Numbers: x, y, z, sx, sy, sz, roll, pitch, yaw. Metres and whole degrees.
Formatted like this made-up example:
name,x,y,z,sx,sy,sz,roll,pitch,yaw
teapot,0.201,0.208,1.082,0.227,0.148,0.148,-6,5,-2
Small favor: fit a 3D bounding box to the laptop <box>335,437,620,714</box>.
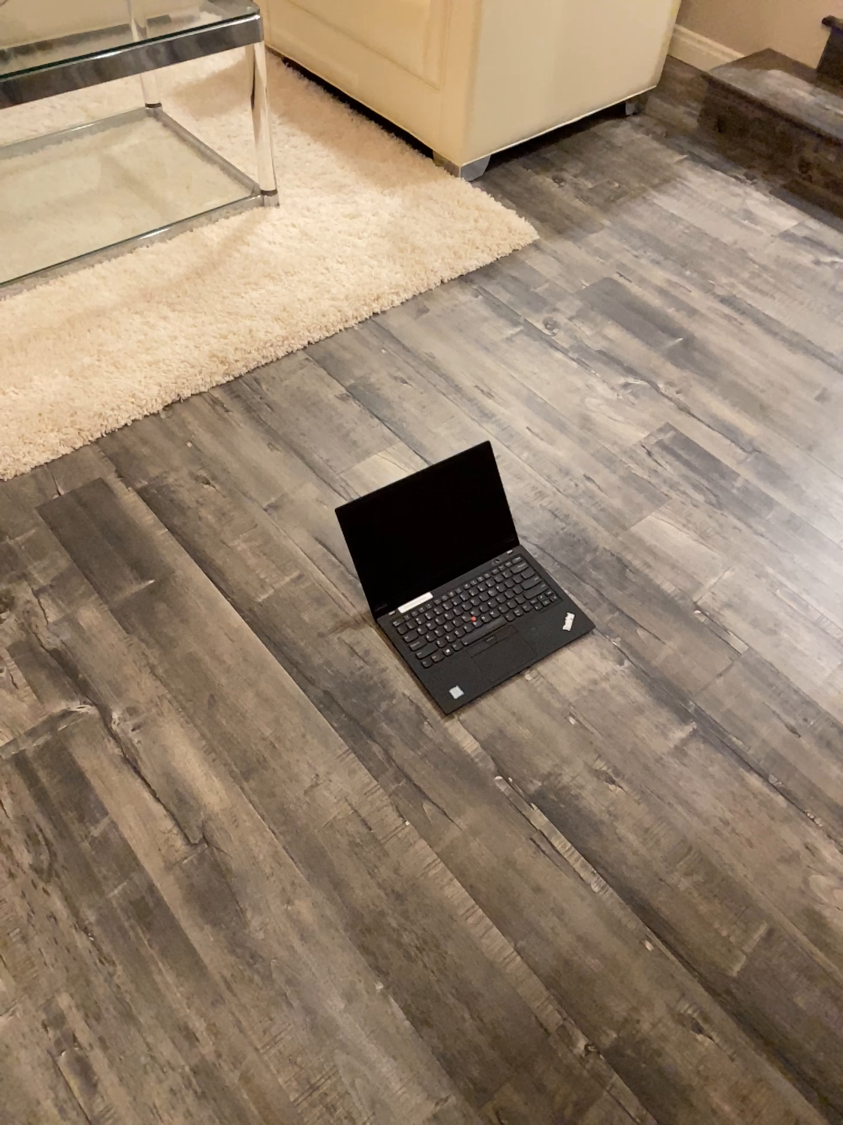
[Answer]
name,x,y,z,sx,sy,sz,roll,pitch,yaw
laptop,0.084,0.009,1.463,0.319,0.149,0.356,-26,61,-24
